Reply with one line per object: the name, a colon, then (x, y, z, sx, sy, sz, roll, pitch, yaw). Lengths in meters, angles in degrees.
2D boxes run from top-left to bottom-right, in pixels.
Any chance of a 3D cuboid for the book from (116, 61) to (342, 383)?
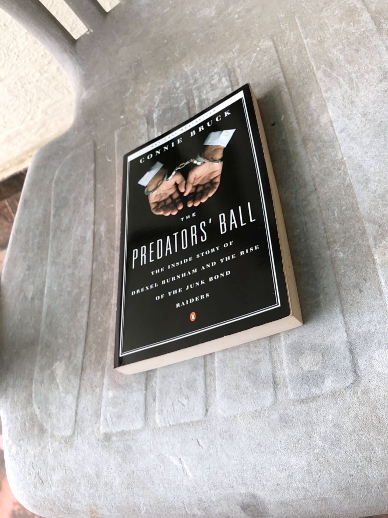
book: (0.010, -0.032, 0.318, 0.140, 0.030, 0.210, -22, 53, 27)
